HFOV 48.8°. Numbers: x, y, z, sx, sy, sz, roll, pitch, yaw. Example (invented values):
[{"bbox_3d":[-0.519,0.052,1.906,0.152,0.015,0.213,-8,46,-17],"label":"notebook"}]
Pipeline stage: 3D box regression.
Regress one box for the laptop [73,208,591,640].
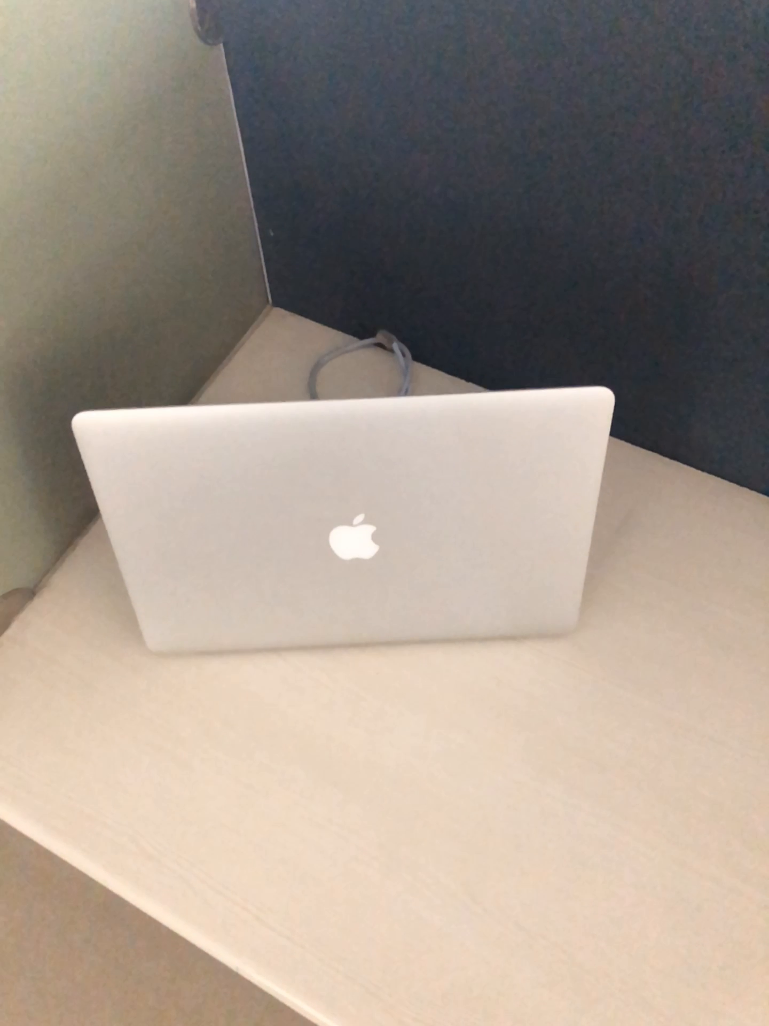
[{"bbox_3d":[-0.034,-0.065,0.691,0.321,0.233,0.244,-3,57,0],"label":"laptop"}]
